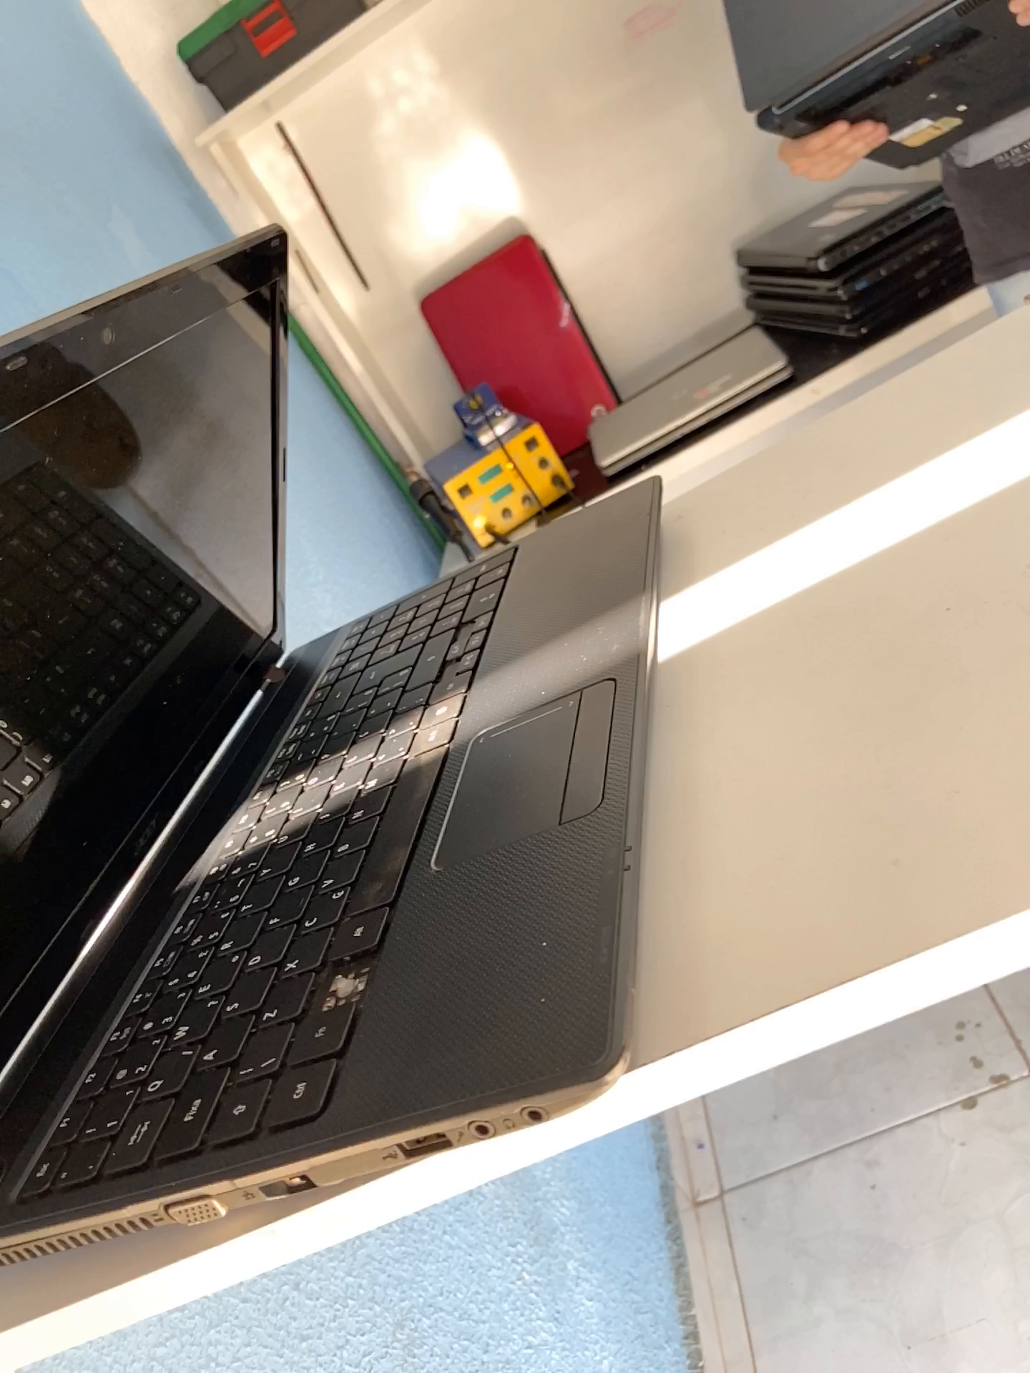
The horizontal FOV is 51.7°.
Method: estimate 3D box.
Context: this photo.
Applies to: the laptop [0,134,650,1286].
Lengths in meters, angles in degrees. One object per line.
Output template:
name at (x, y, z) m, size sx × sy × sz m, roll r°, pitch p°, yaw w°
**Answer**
laptop at (-0.113, -0.036, 0.401) m, size 0.247 × 0.191 × 0.377 m, roll -25°, pitch 23°, yaw 21°
